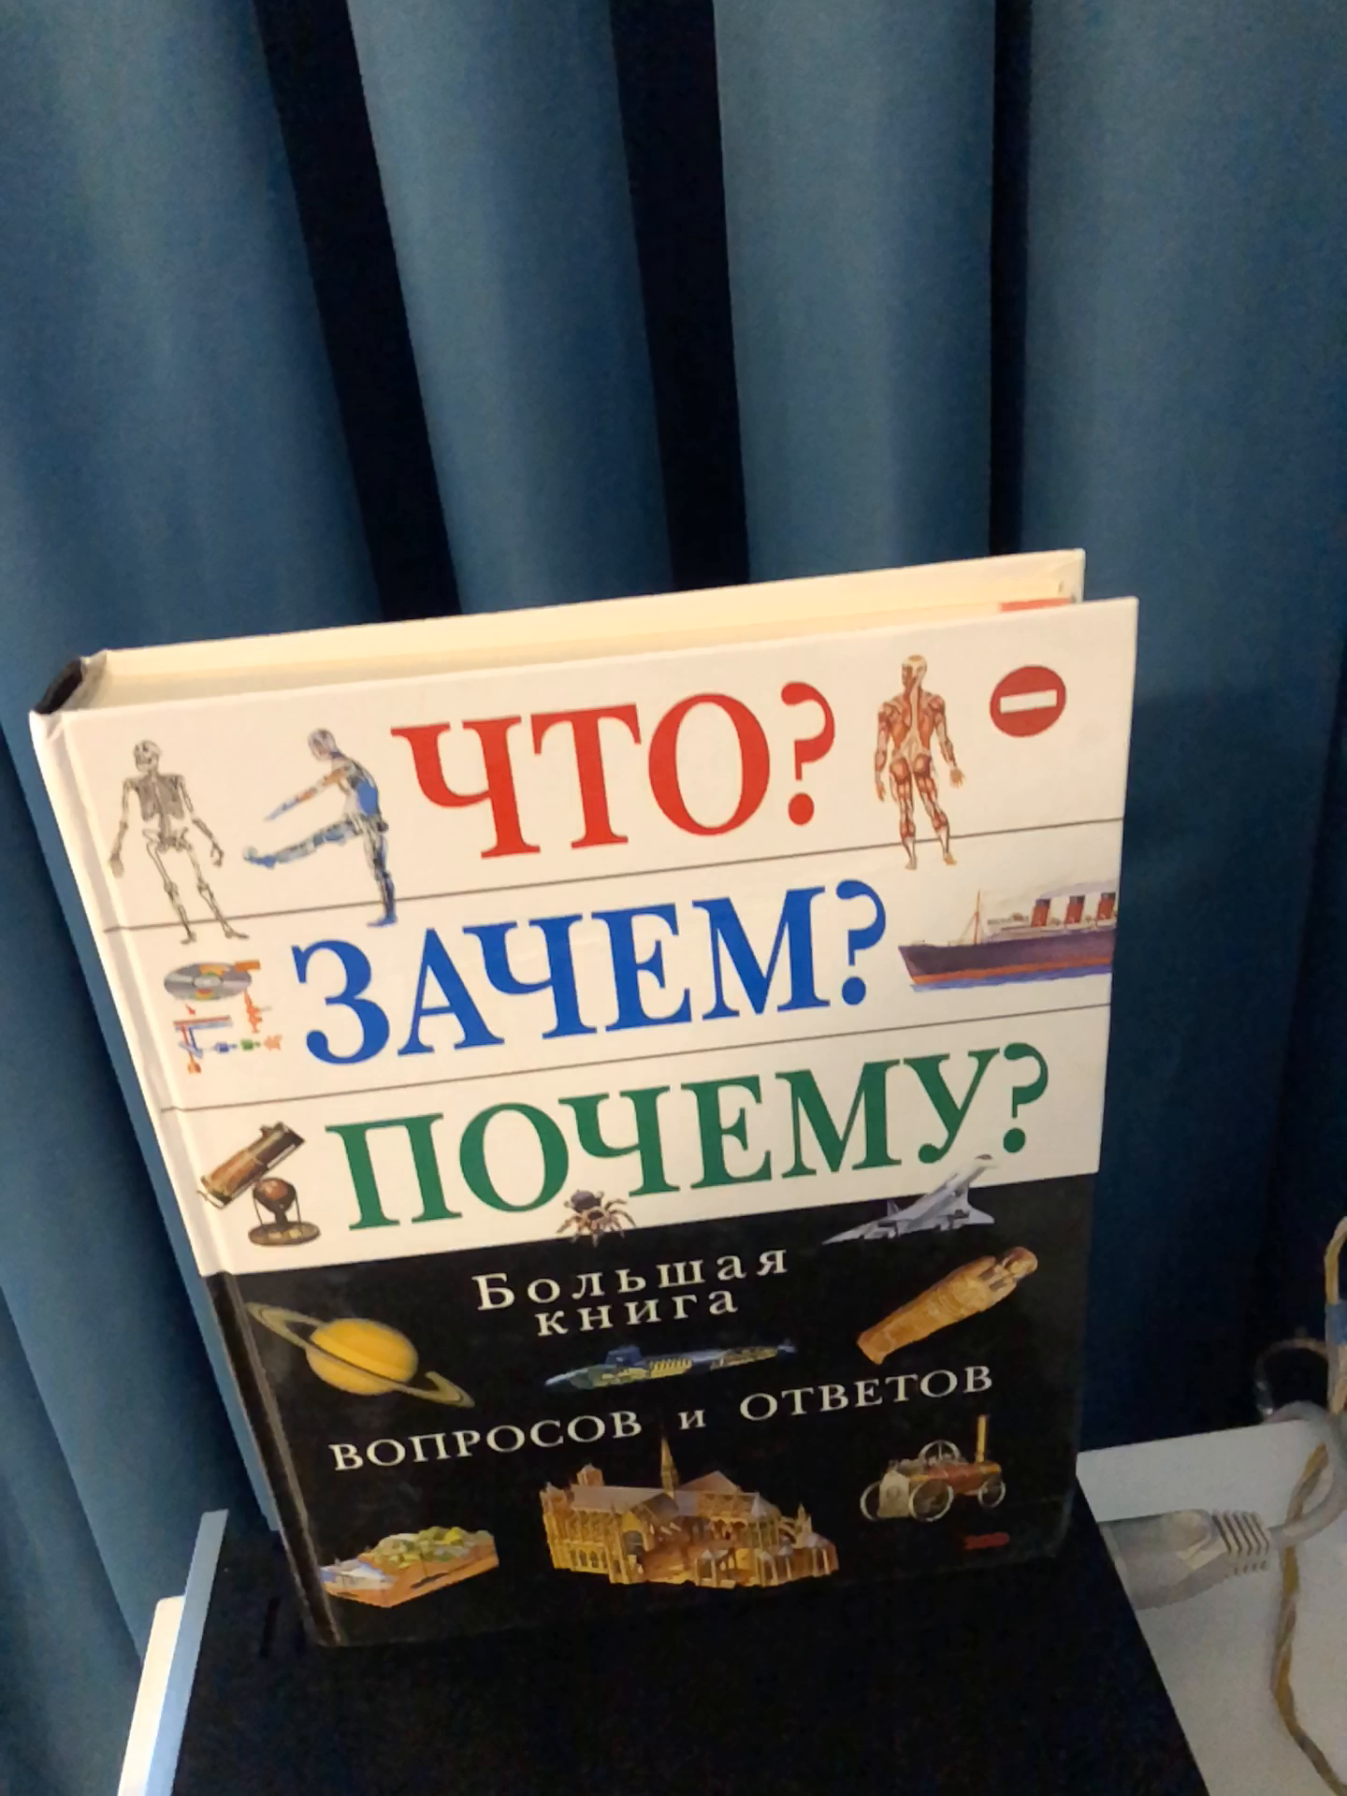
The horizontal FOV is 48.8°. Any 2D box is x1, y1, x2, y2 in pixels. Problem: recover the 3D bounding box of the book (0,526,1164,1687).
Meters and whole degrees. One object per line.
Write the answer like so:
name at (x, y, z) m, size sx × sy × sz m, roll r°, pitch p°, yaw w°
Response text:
book at (-0.006, 0.073, 0.374) m, size 0.224 × 0.300 × 0.042 m, roll -7°, pitch 29°, yaw -2°
